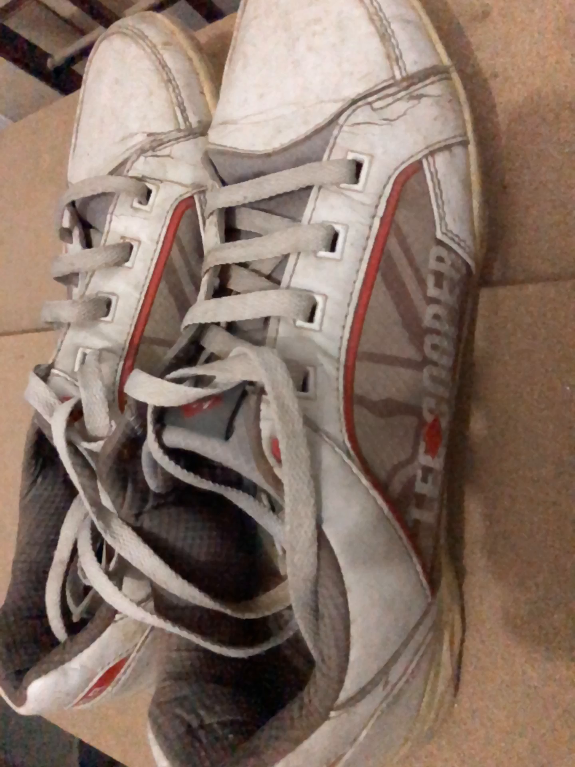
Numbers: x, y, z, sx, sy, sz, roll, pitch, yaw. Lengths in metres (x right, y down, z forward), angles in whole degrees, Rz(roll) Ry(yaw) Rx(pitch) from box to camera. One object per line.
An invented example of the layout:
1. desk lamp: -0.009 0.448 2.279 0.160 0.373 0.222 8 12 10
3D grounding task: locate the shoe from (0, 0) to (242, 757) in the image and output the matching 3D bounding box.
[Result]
1. shoe: -0.092 -0.025 0.253 0.100 0.080 0.270 -1 81 33

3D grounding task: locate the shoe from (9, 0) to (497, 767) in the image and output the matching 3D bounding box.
1. shoe: -0.002 -0.020 0.194 0.100 0.080 0.270 -1 81 33
